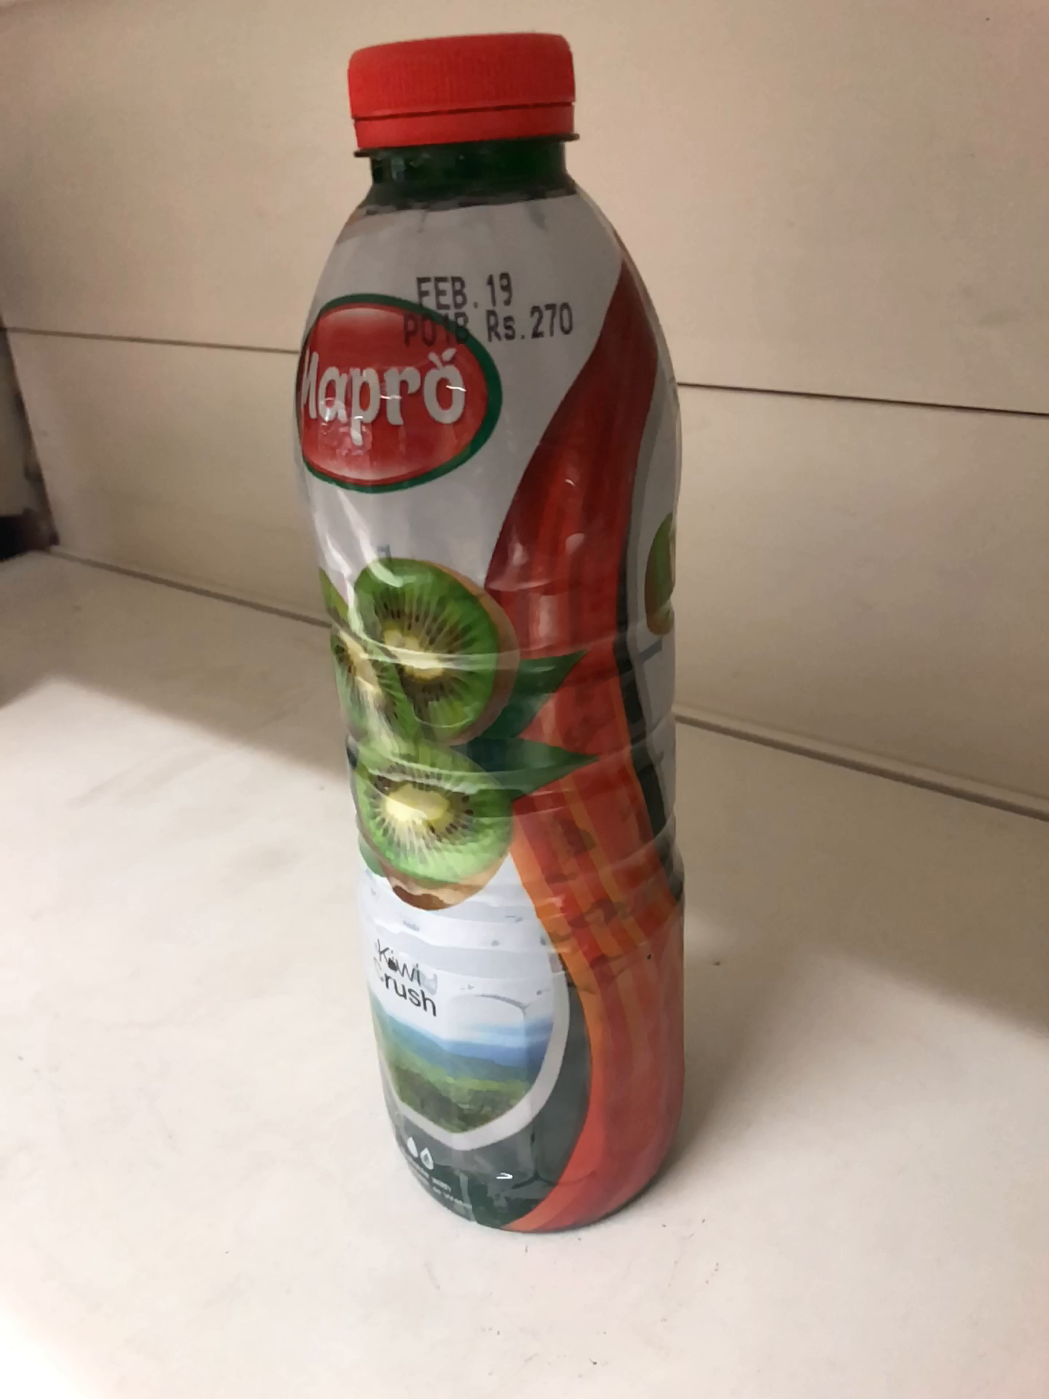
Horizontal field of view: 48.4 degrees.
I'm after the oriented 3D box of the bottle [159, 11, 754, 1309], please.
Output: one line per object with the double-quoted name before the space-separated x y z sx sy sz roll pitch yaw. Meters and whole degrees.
"bottle" -0.005 0.001 0.262 0.080 0.258 0.070 15 30 34
